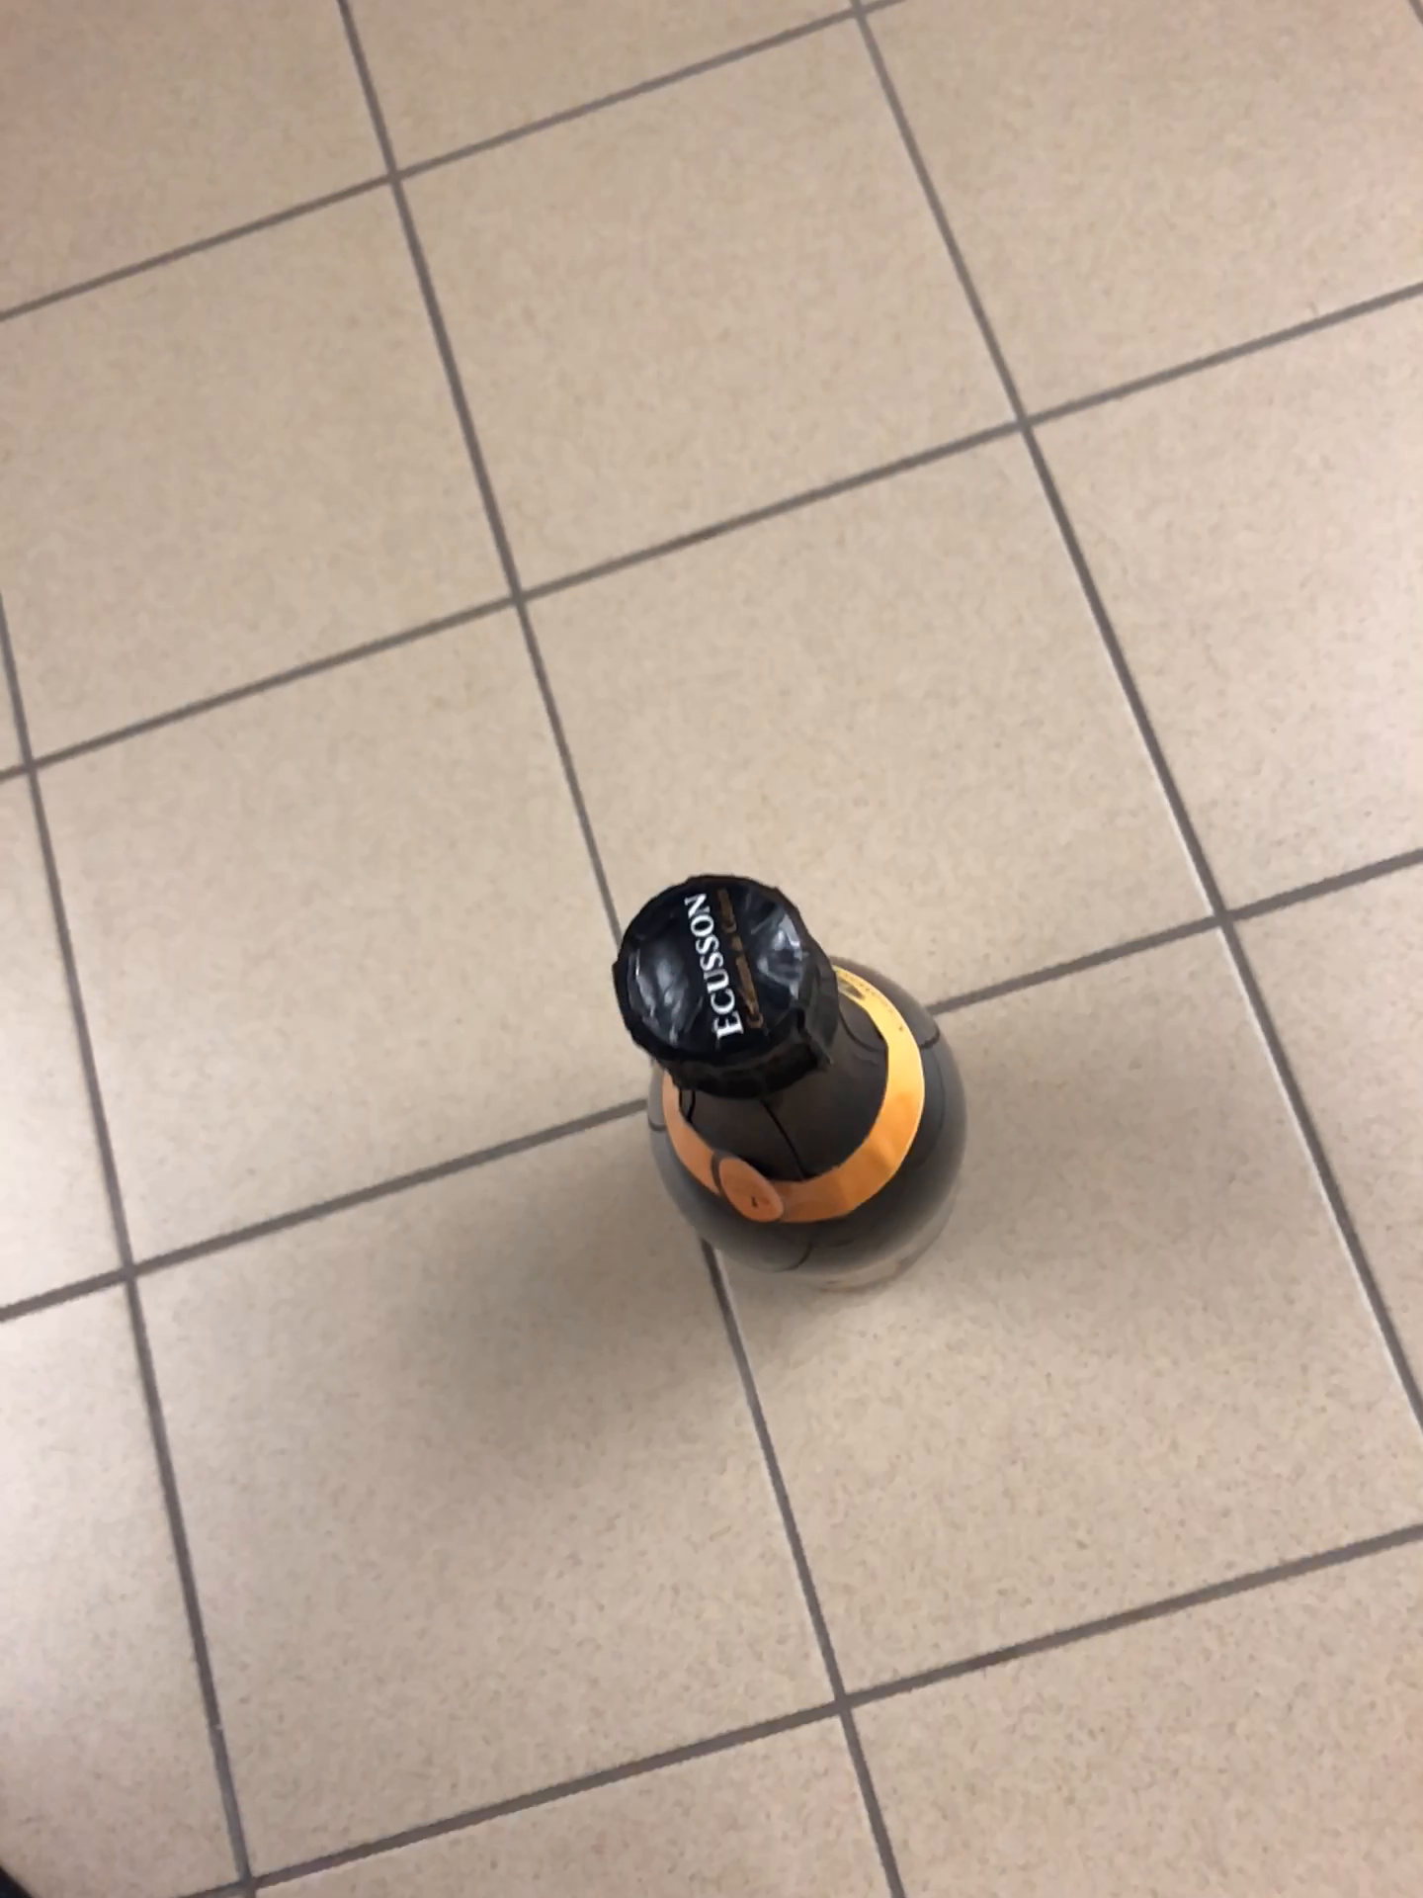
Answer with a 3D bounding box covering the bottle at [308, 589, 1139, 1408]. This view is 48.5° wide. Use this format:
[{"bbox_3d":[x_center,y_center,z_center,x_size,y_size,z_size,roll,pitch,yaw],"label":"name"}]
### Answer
[{"bbox_3d":[0.021,0.038,0.382,0.090,0.300,0.090,-2,76,8],"label":"bottle"}]
